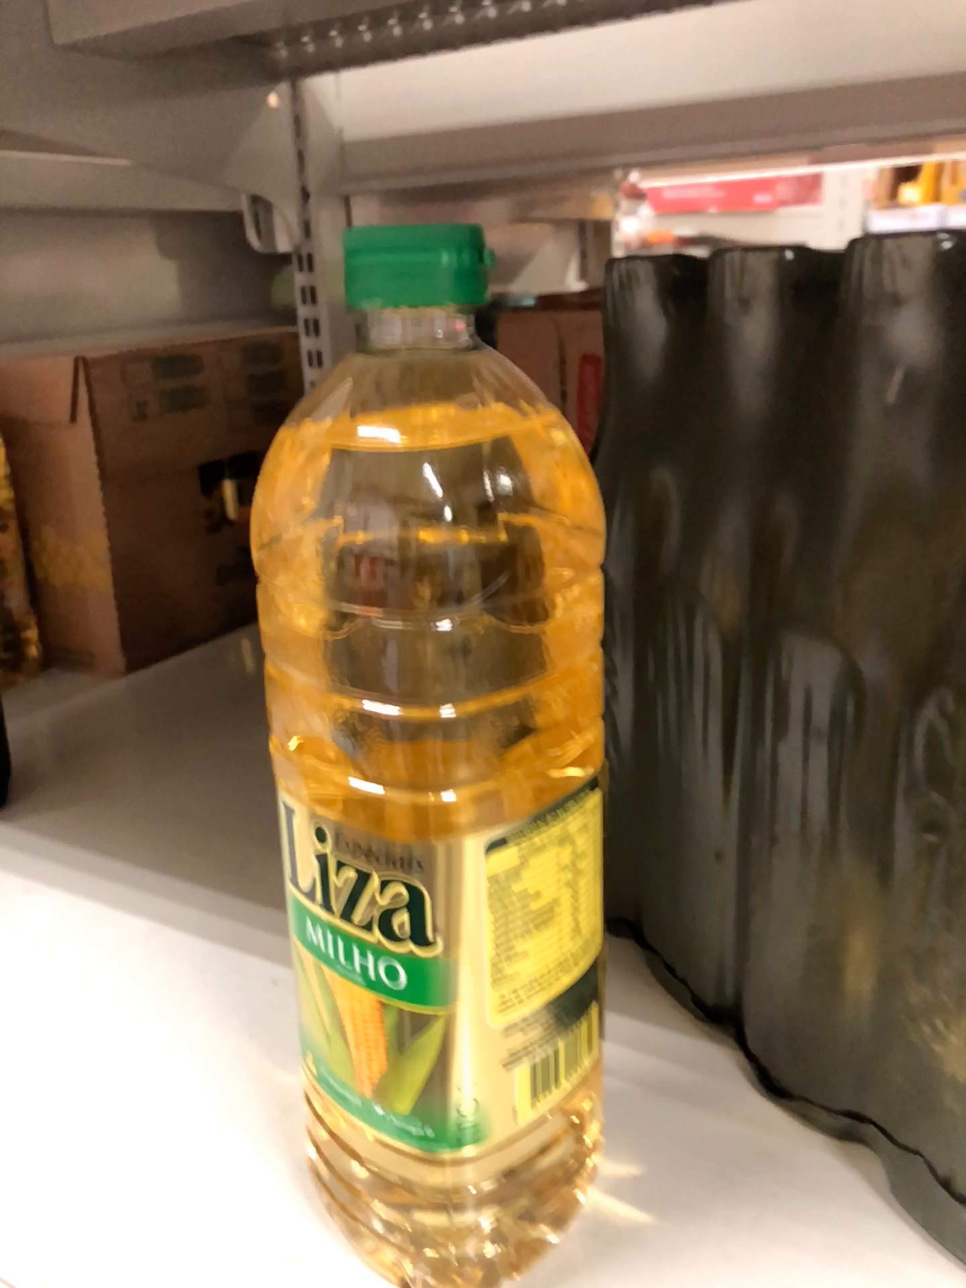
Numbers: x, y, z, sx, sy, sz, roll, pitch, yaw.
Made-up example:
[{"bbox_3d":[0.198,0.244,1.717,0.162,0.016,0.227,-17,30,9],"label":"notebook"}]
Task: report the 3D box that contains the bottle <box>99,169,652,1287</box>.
[{"bbox_3d":[-0.016,0.029,0.252,0.080,0.249,0.070,11,23,39],"label":"bottle"}]
